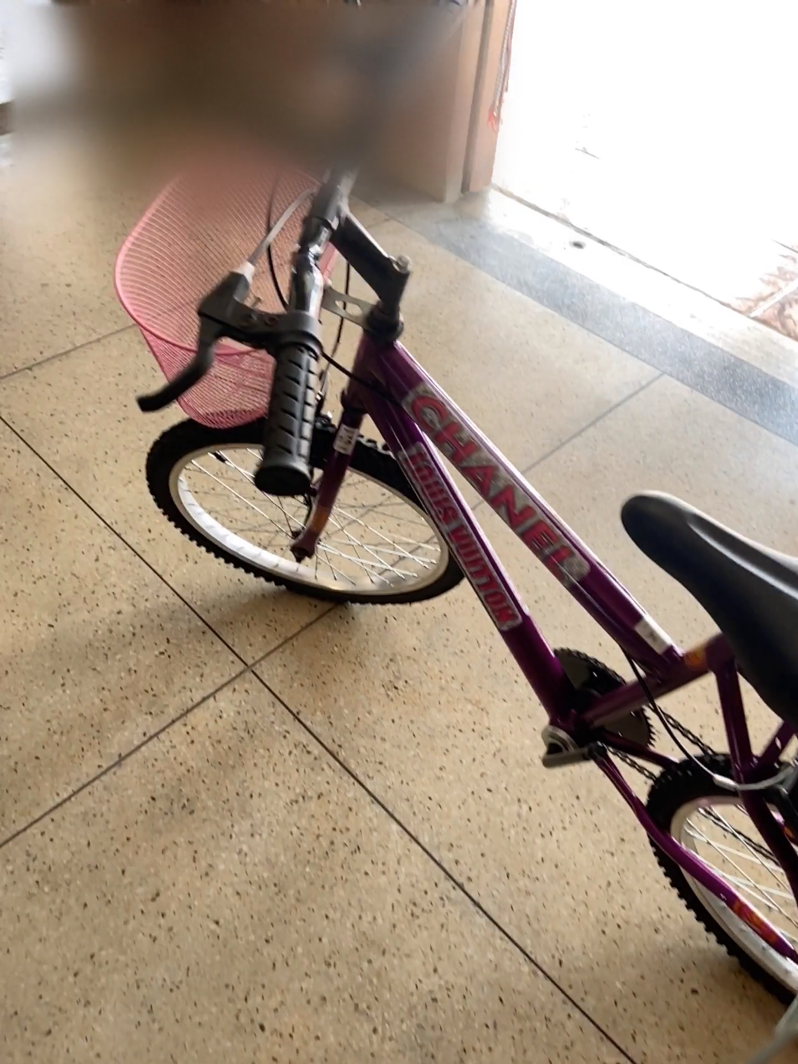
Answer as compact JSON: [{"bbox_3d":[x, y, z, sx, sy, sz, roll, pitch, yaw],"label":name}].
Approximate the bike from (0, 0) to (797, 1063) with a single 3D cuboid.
[{"bbox_3d":[0.148,0.130,0.824,1.263,0.934,0.617,32,53,23],"label":"bike"}]
